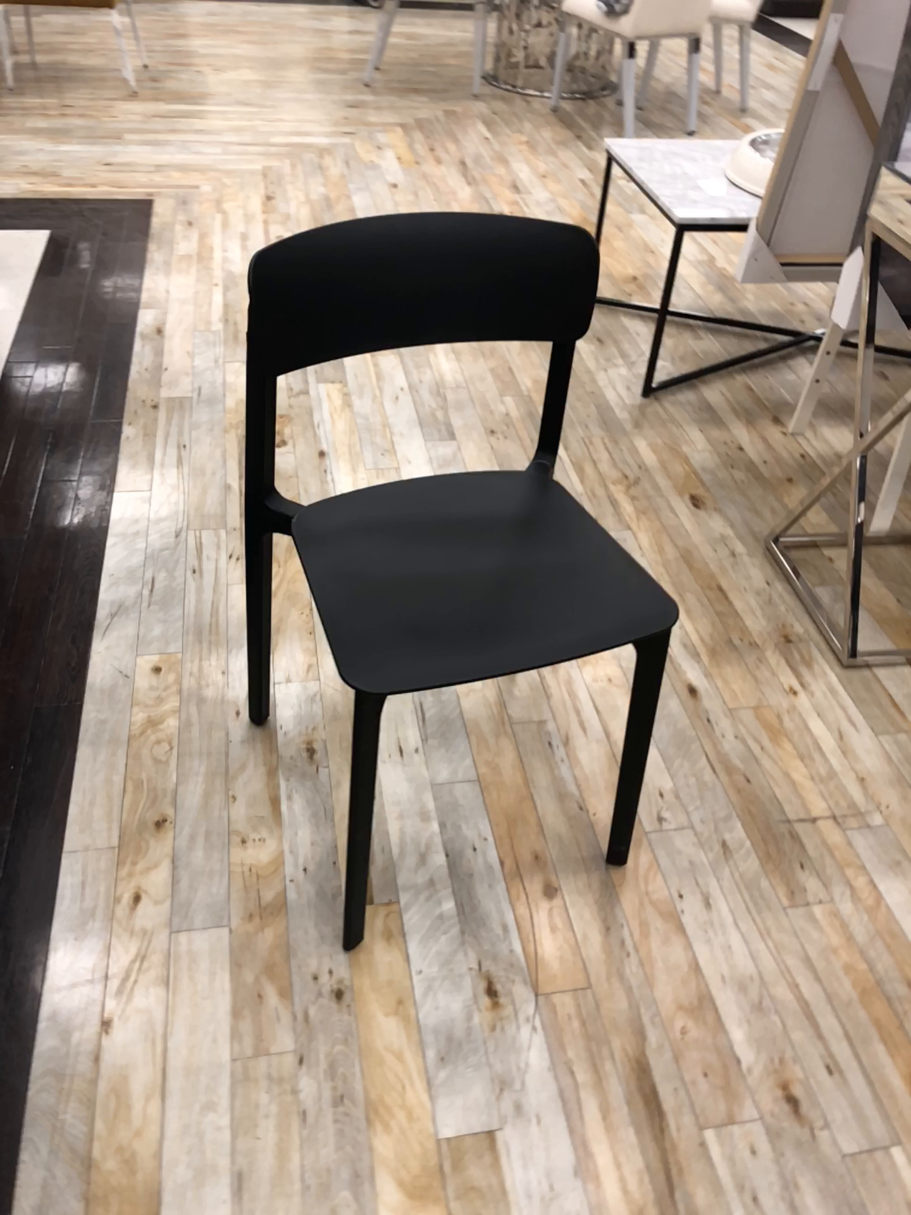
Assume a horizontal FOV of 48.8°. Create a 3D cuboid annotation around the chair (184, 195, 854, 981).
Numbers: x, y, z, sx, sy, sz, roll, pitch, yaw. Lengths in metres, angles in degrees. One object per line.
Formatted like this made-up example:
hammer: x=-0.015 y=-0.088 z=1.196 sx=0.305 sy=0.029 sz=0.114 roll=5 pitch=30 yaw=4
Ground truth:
chair: x=0.006 y=-0.043 z=1.240 sx=0.500 sy=0.707 sz=0.542 roll=-12 pitch=42 yaw=-19
